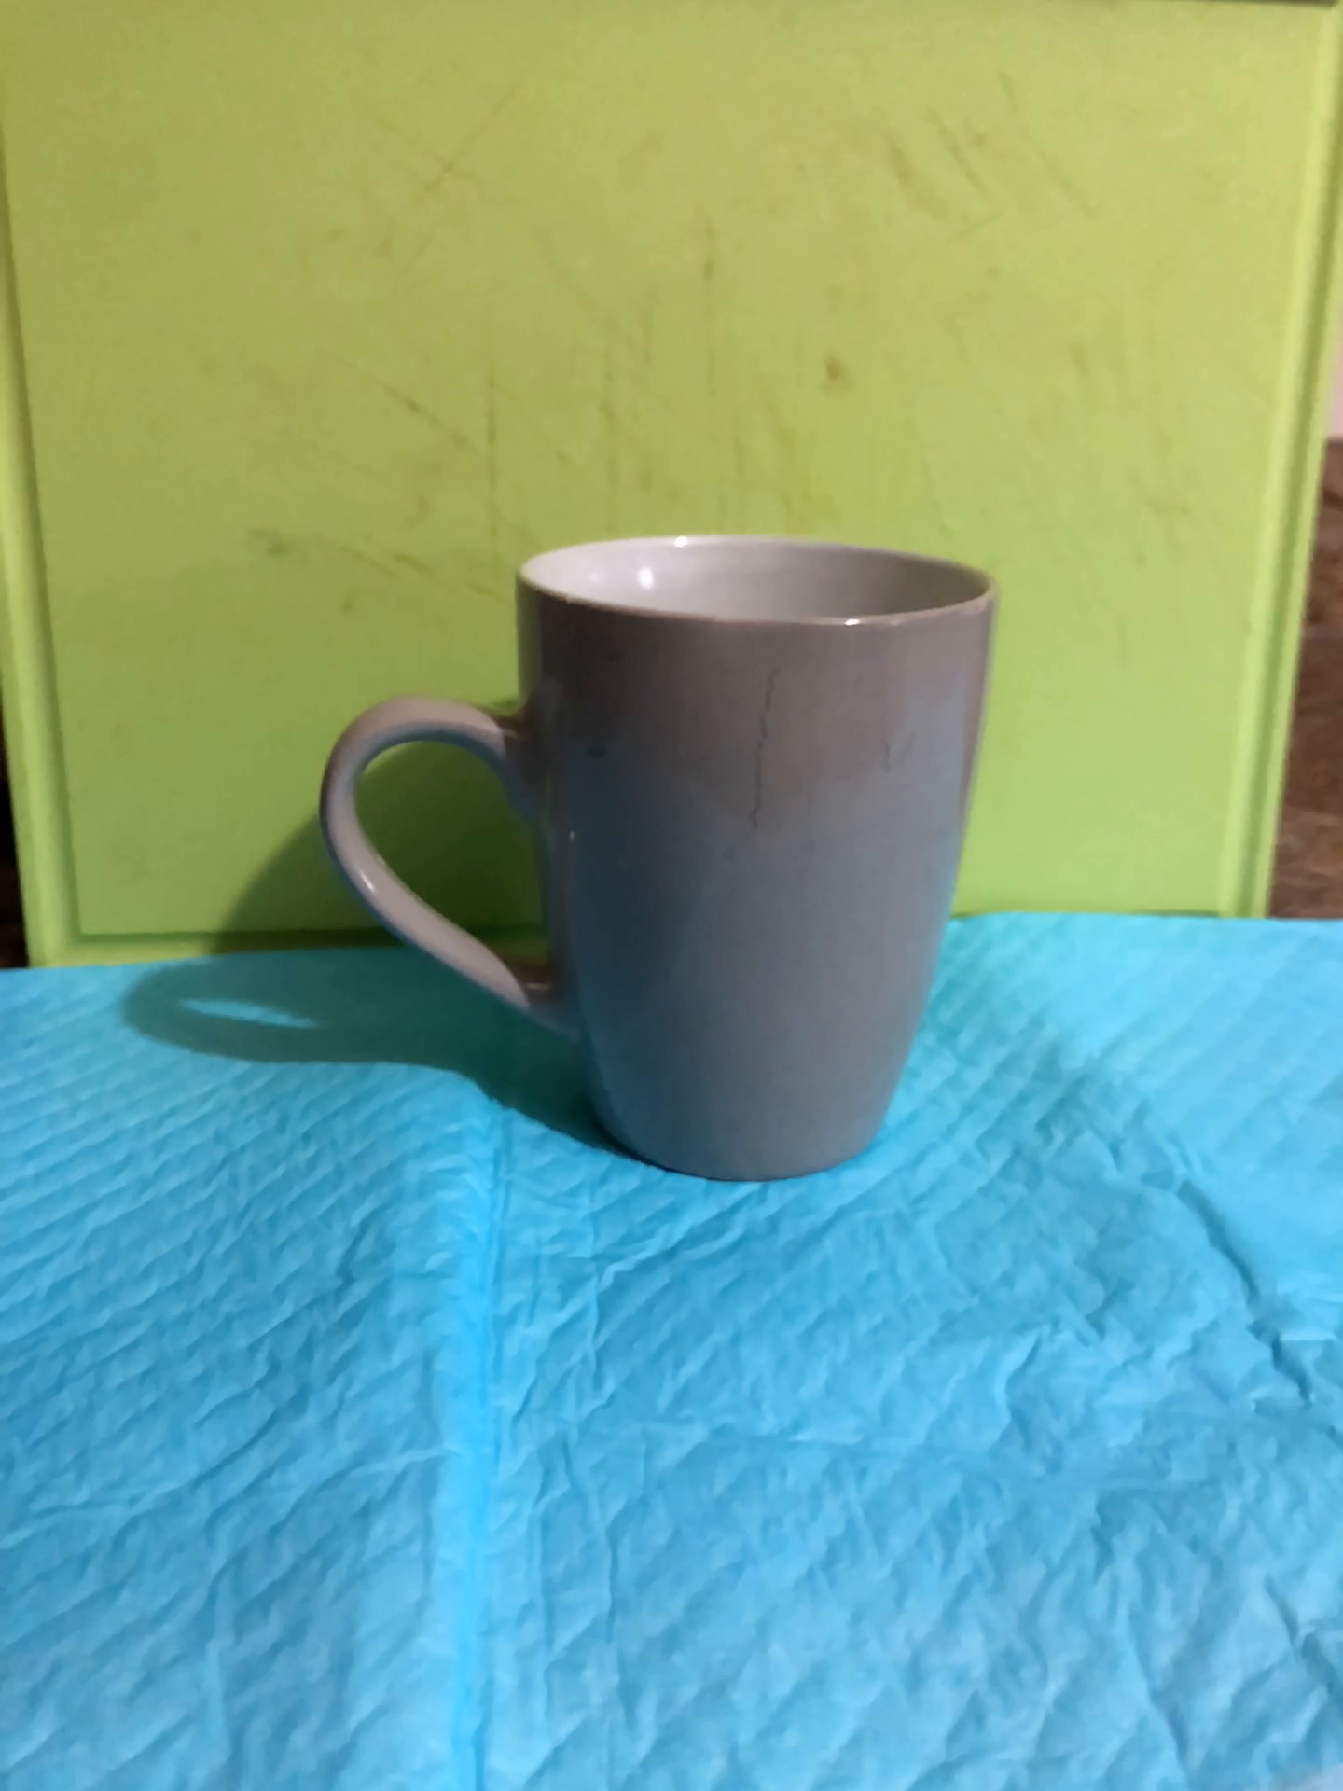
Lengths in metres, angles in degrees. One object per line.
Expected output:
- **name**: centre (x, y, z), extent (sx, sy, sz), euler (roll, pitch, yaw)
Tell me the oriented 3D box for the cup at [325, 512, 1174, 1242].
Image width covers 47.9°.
- **cup**: centre (0.008, -0.012, 0.246), extent (0.110, 0.090, 0.070), euler (-7, 22, -22)
